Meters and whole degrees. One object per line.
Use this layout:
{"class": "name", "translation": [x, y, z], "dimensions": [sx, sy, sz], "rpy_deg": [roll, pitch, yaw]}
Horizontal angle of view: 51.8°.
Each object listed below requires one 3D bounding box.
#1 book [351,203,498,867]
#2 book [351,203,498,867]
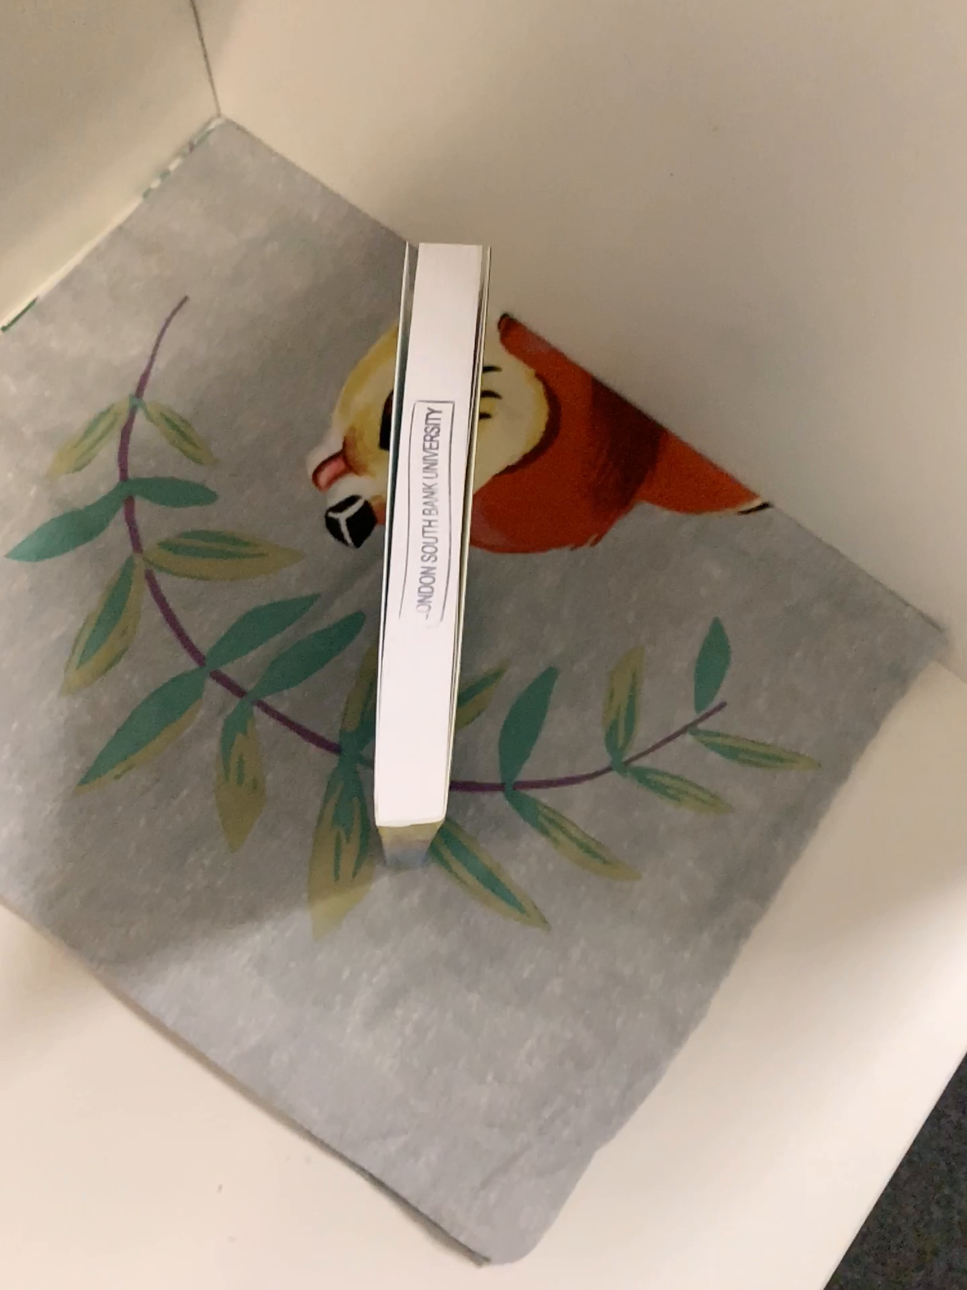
{"class": "book", "translation": [-0.023, -0.011, 0.366], "dimensions": [0.030, 0.229, 0.170], "rpy_deg": [3, 75, -4]}
{"class": "book", "translation": [-0.023, -0.011, 0.366], "dimensions": [0.030, 0.229, 0.170], "rpy_deg": [3, 75, -4]}
